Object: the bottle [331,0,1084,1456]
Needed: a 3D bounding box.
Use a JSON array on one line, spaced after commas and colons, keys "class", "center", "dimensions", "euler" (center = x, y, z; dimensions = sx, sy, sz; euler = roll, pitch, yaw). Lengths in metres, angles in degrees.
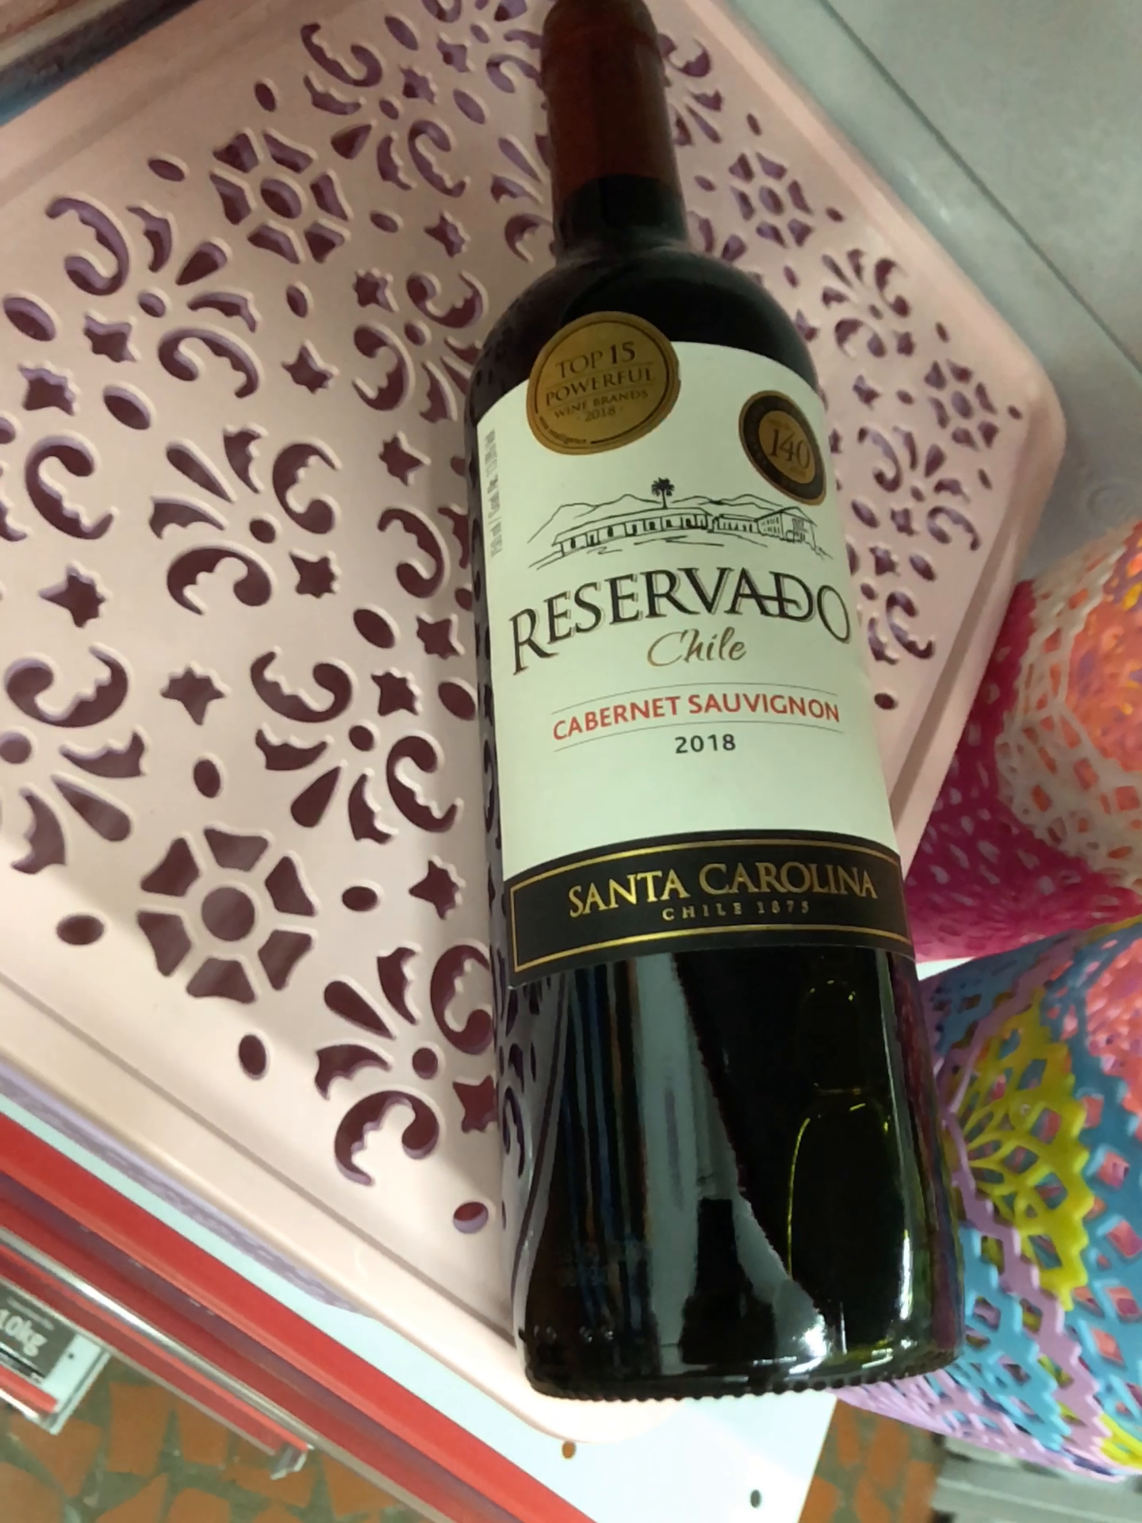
[{"class": "bottle", "center": [0.006, -0.059, 0.246], "dimensions": [0.080, 0.060, 0.331], "euler": [8, 63, -29]}]
